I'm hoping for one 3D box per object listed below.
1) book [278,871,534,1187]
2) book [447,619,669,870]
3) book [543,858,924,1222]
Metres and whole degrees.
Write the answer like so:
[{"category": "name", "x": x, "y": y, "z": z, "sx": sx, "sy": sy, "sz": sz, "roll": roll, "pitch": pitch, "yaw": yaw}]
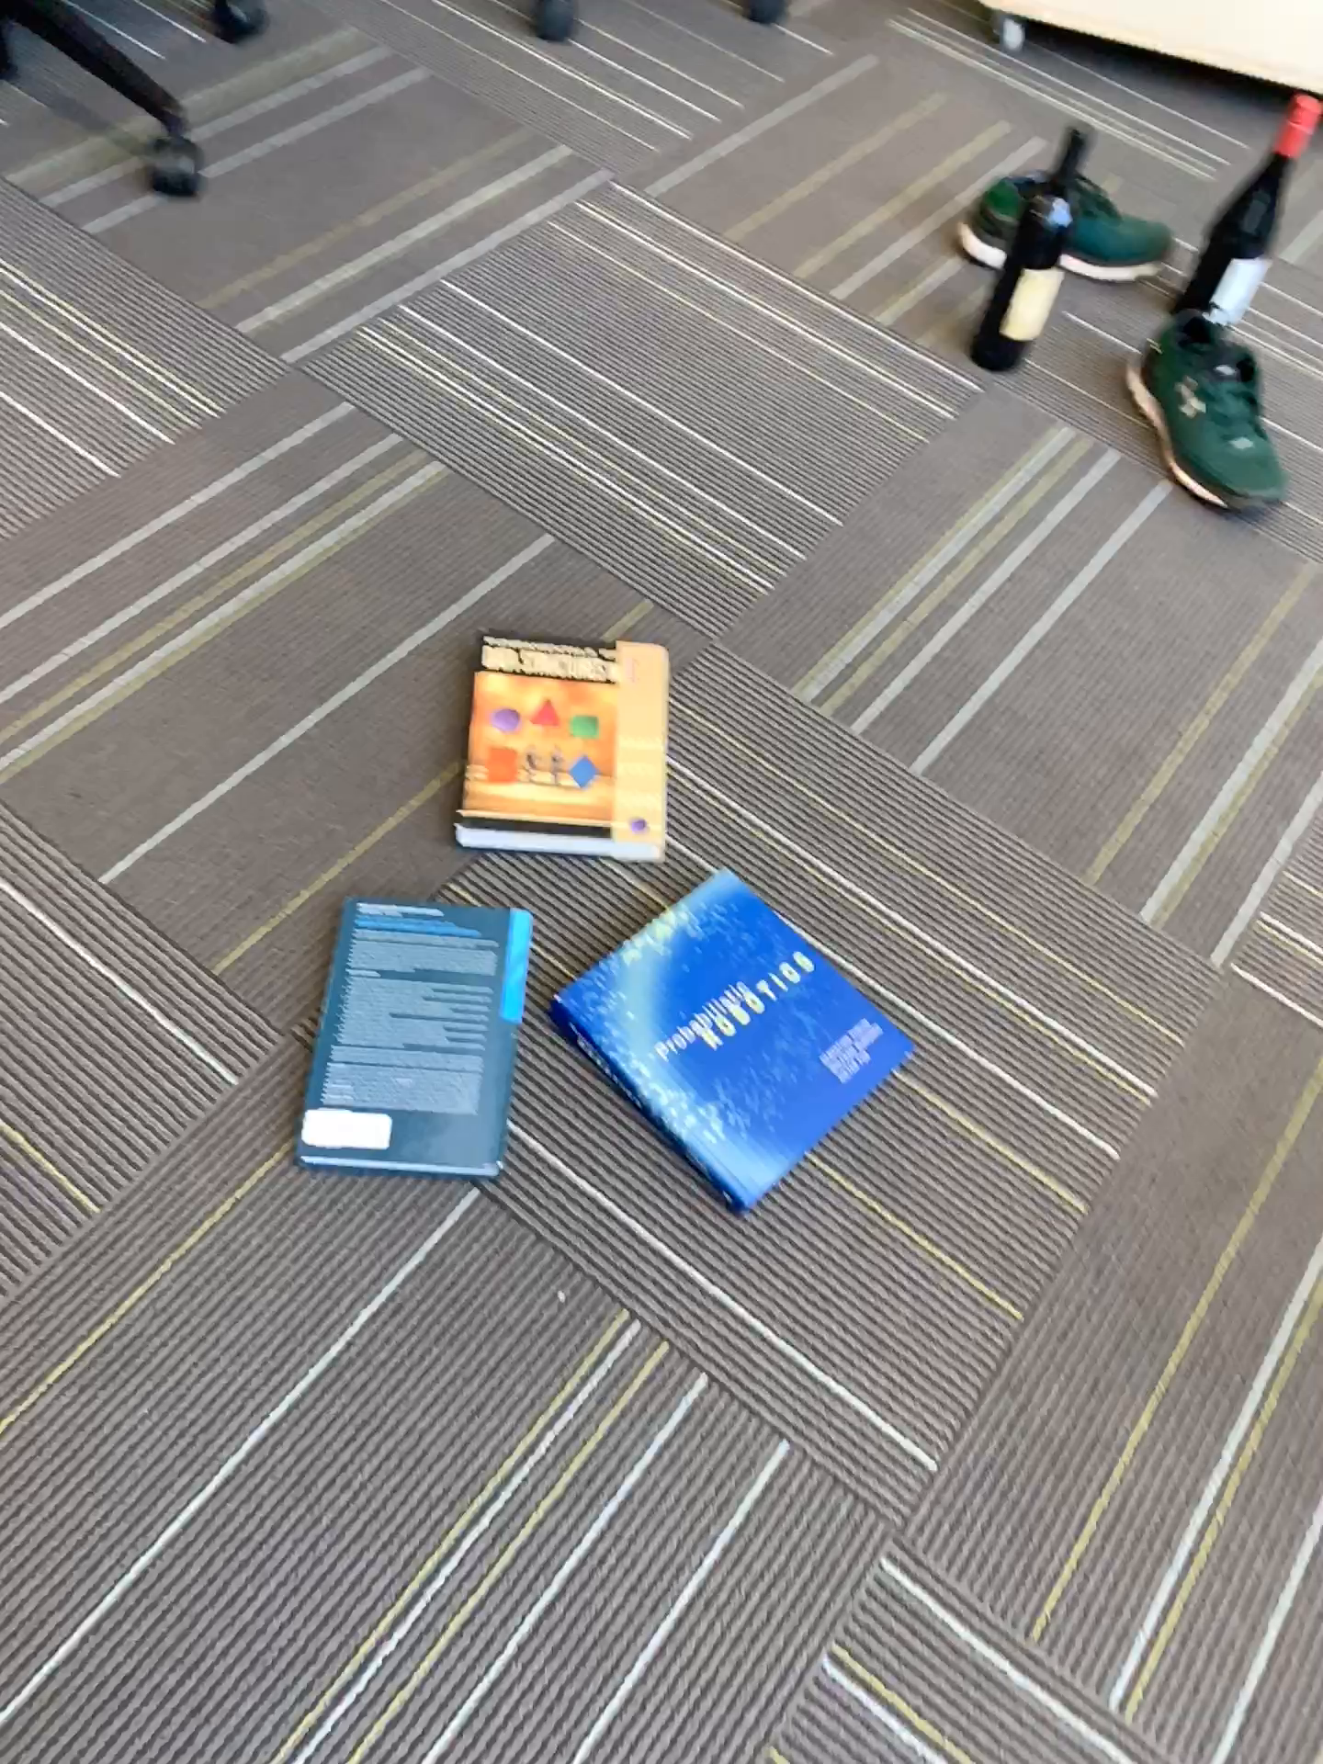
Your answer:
[{"category": "book", "x": -0.201, "y": 0.115, "z": 1.101, "sx": 0.170, "sy": 0.040, "sz": 0.248, "roll": 6, "pitch": 59, "yaw": -5}, {"category": "book", "x": -0.092, "y": -0.132, "z": 1.266, "sx": 0.191, "sy": 0.040, "sz": 0.248, "roll": 5, "pitch": 56, "yaw": -6}, {"category": "book", "x": 0.060, "y": 0.124, "z": 1.139, "sx": 0.205, "sy": 0.040, "sz": 0.246, "roll": -36, "pitch": 69, "yaw": -27}]
